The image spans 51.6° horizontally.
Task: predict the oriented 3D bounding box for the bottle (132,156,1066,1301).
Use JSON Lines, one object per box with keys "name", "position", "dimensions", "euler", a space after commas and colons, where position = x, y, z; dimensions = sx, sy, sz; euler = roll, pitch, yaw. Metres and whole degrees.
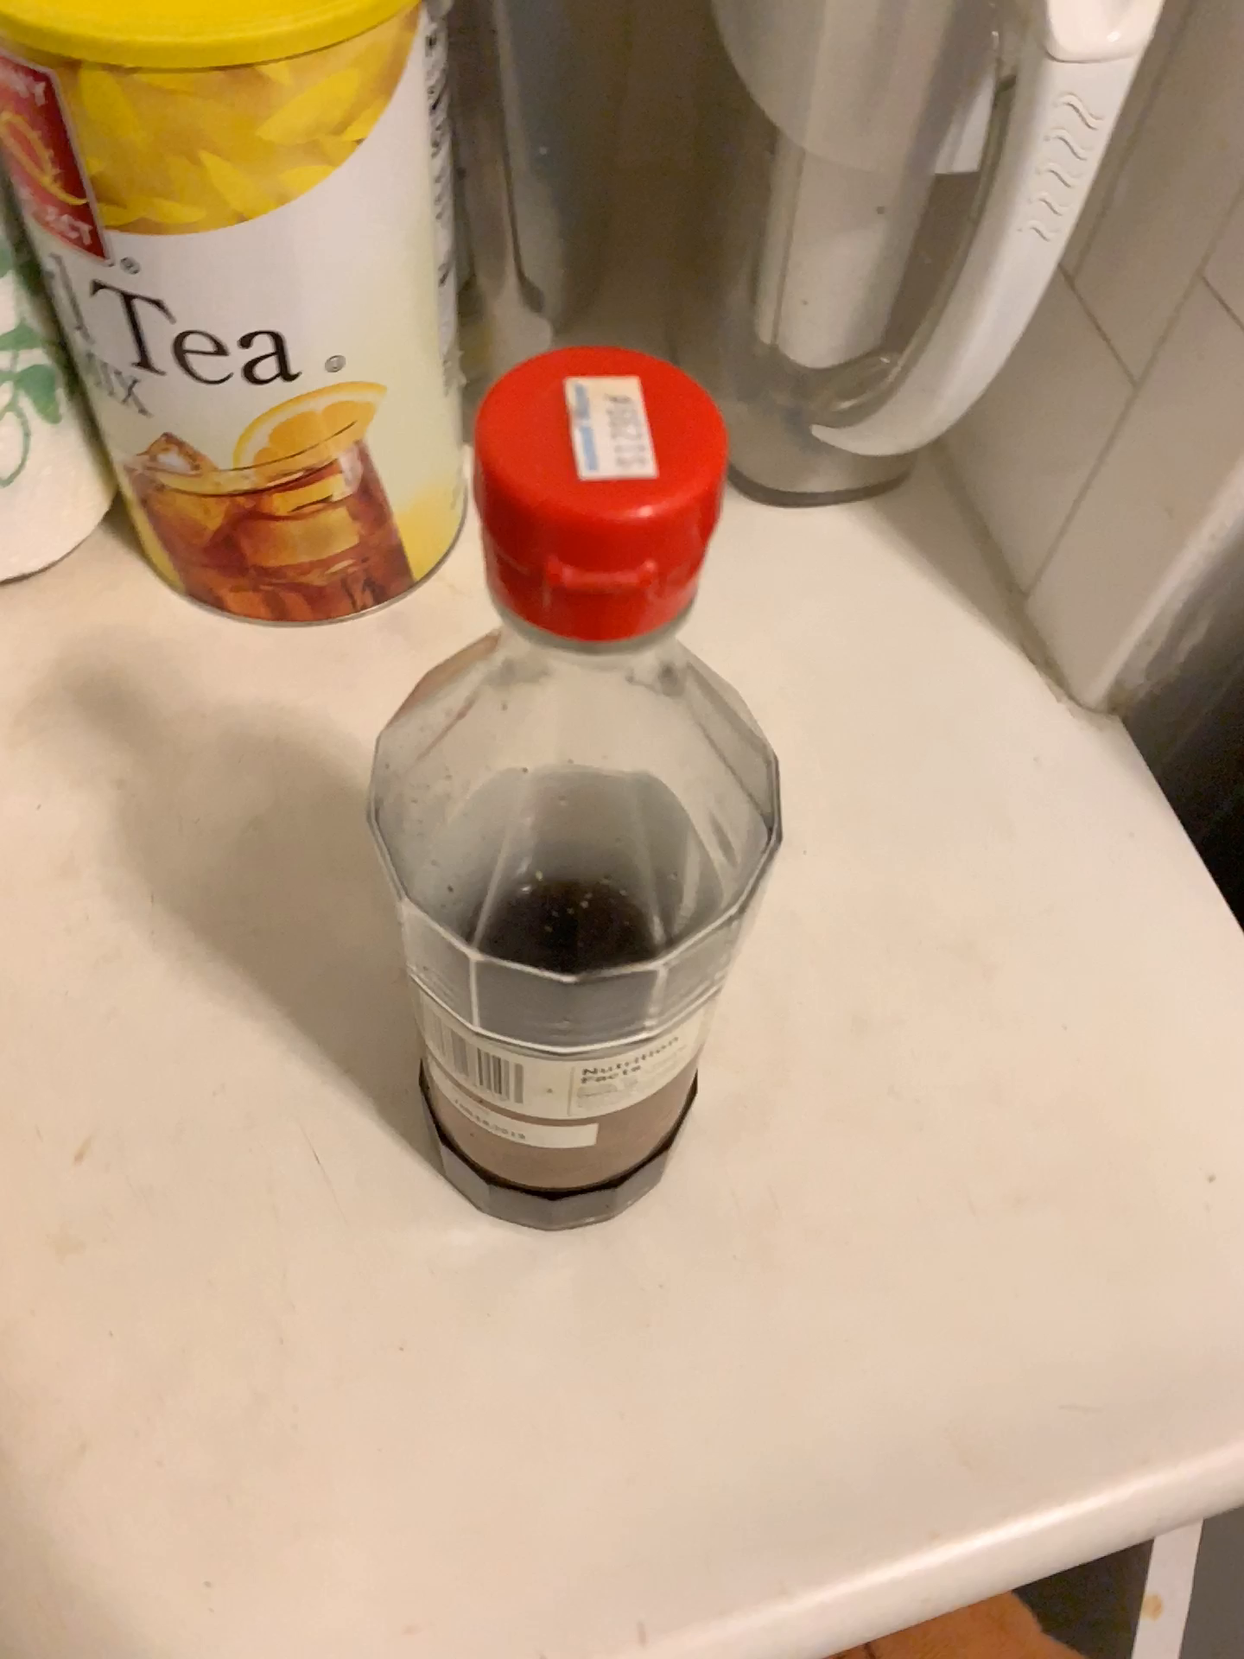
{"name": "bottle", "position": [-0.016, 0.014, 0.275], "dimensions": [0.090, 0.259, 0.090], "euler": [2, 59, -4]}
